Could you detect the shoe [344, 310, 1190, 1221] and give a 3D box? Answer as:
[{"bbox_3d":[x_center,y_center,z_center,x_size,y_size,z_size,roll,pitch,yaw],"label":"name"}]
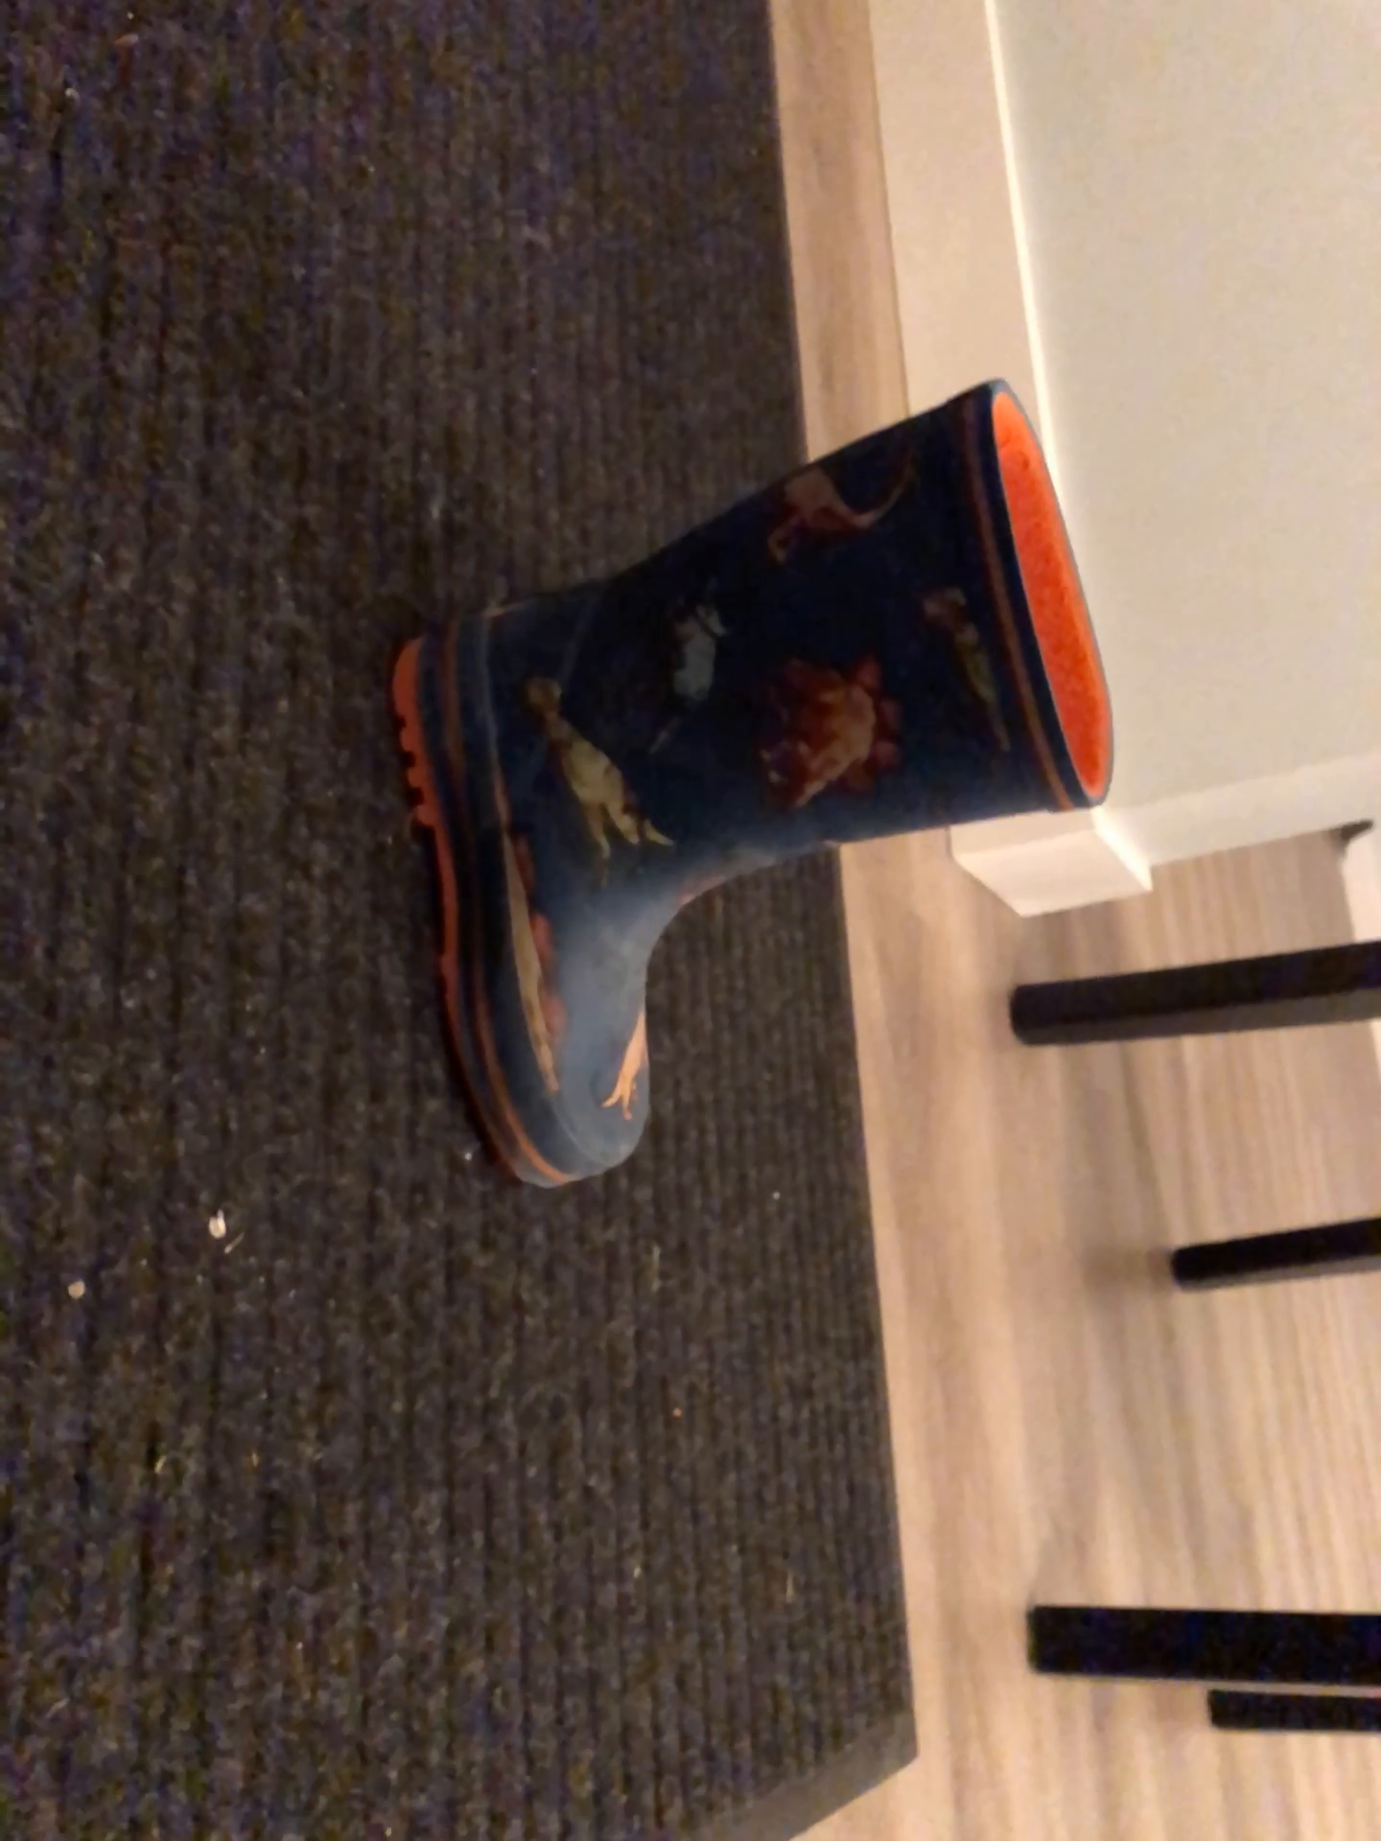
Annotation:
[{"bbox_3d":[0.020,-0.031,0.422,0.080,0.179,0.190,-9,87,-65],"label":"shoe"}]
